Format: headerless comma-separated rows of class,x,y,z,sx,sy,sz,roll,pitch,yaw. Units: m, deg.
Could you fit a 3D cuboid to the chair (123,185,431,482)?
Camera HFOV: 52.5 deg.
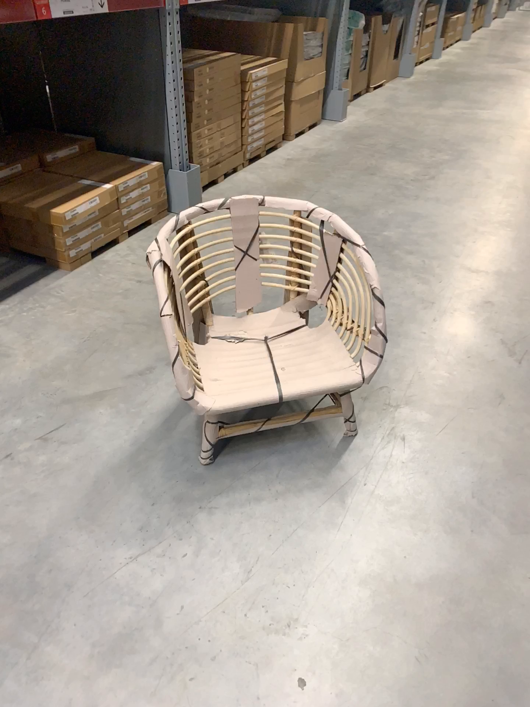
chair,-0.031,-0.125,1.786,0.750,0.567,0.763,-8,37,-12
